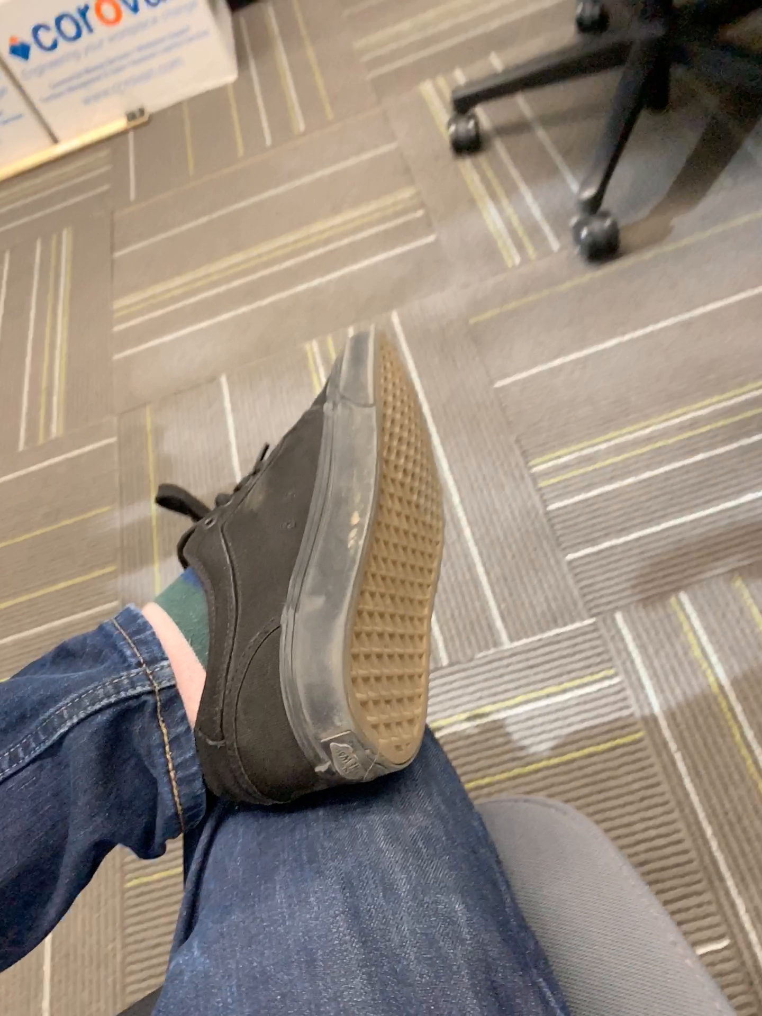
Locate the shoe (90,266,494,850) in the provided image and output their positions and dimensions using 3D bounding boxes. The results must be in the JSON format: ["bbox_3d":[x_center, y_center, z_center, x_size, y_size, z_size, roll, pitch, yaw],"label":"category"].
[{"bbox_3d":[-0.034,0.025,0.415,0.135,0.120,0.261,-14,54,20],"label":"shoe"}]
